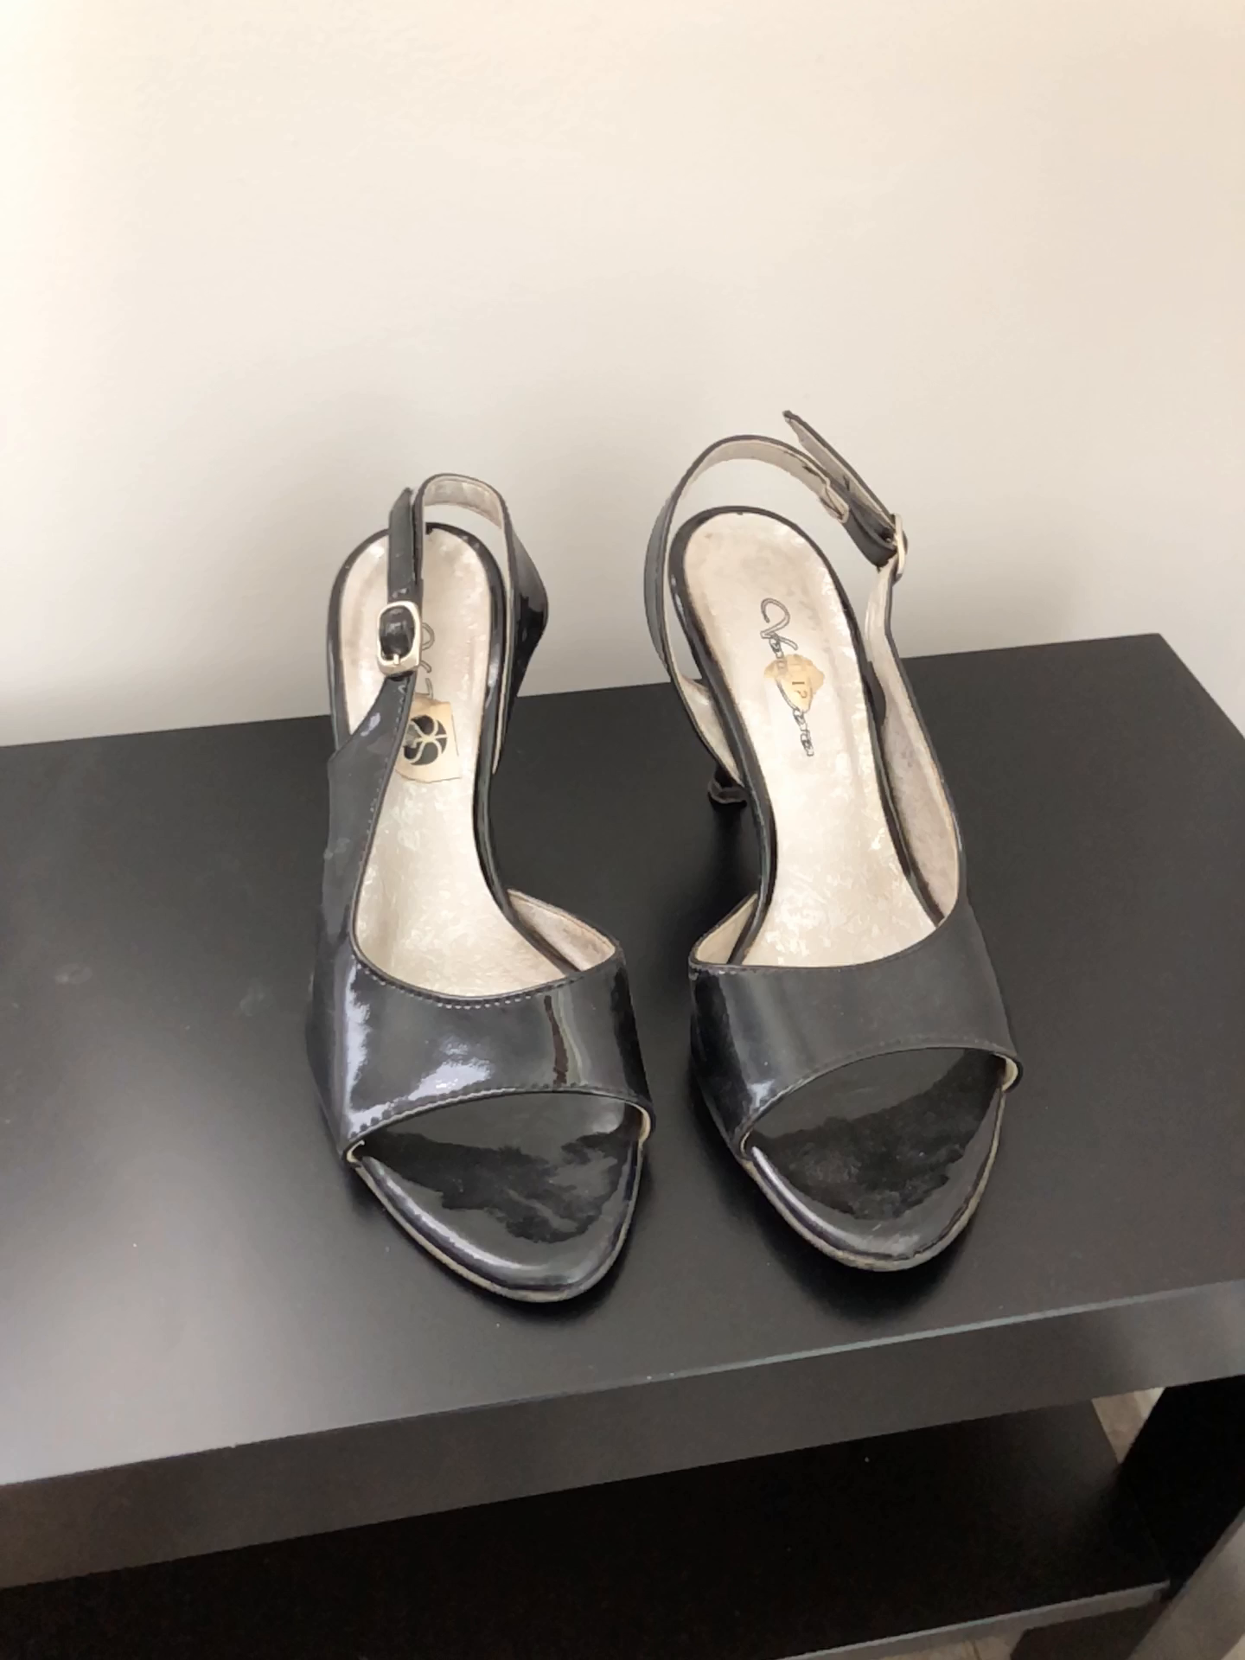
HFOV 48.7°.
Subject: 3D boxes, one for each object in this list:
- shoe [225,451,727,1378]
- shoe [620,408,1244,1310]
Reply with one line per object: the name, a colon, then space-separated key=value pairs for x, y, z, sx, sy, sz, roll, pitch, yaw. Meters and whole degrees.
shoe: x=-0.047 y=0.006 z=0.351 sx=0.083 sy=0.110 sz=0.211 roll=-8 pitch=43 yaw=-10
shoe: x=0.054 y=-0.008 z=0.349 sx=0.083 sy=0.110 sz=0.211 roll=-4 pitch=42 yaw=-6
